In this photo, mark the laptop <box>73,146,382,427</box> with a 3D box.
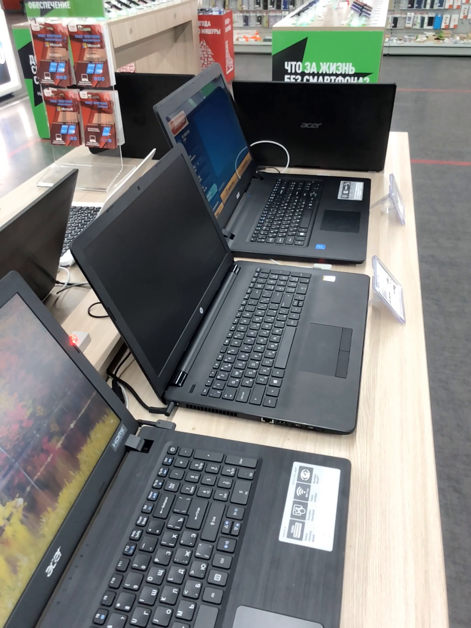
[{"bbox_3d":[0.028,-0.072,0.769,0.333,0.215,0.379,7,36,11],"label":"laptop"}]

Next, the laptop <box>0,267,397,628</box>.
[{"bbox_3d":[-0.080,0.163,0.430,0.350,0.226,0.361,5,35,12],"label":"laptop"}]

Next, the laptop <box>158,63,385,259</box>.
[{"bbox_3d":[0.100,-0.354,1.114,0.395,0.267,0.398,7,37,14],"label":"laptop"}]
